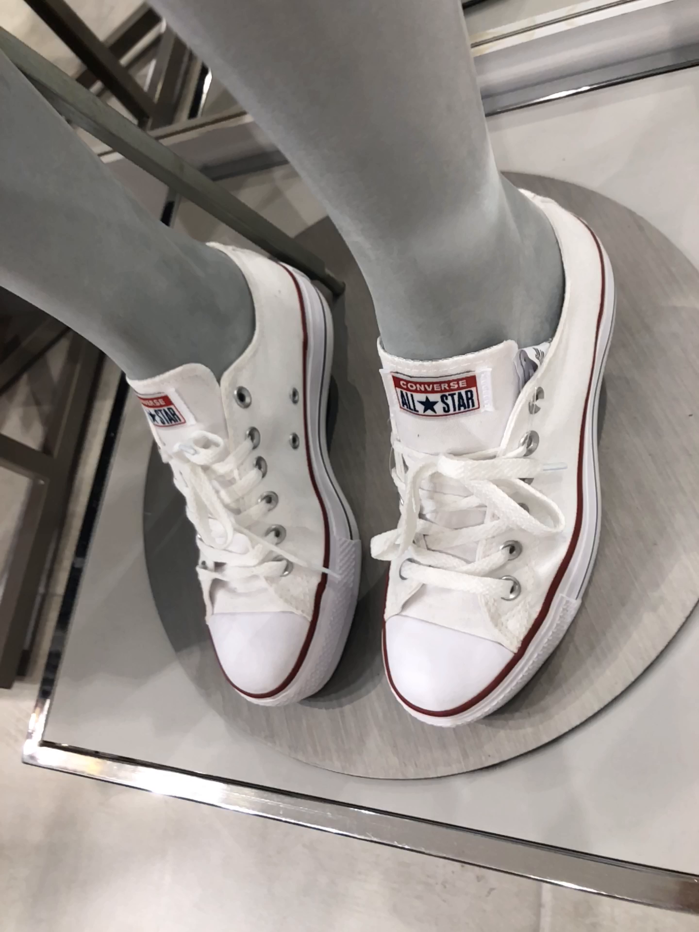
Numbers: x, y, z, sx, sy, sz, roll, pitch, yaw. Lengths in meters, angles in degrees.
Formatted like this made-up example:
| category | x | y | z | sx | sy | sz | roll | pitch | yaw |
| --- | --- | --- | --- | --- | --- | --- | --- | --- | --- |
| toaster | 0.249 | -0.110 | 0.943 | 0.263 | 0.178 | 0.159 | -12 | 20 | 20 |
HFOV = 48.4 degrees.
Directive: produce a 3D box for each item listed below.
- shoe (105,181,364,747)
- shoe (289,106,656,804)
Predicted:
| category | x | y | z | sx | sy | sz | roll | pitch | yaw |
| --- | --- | --- | --- | --- | --- | --- | --- | --- | --- |
| shoe | -0.064 | 0.002 | 0.429 | 0.100 | 0.090 | 0.270 | -7 | 81 | 26 |
| shoe | 0.062 | -0.008 | 0.375 | 0.110 | 0.090 | 0.280 | 8 | 88 | 31 |
